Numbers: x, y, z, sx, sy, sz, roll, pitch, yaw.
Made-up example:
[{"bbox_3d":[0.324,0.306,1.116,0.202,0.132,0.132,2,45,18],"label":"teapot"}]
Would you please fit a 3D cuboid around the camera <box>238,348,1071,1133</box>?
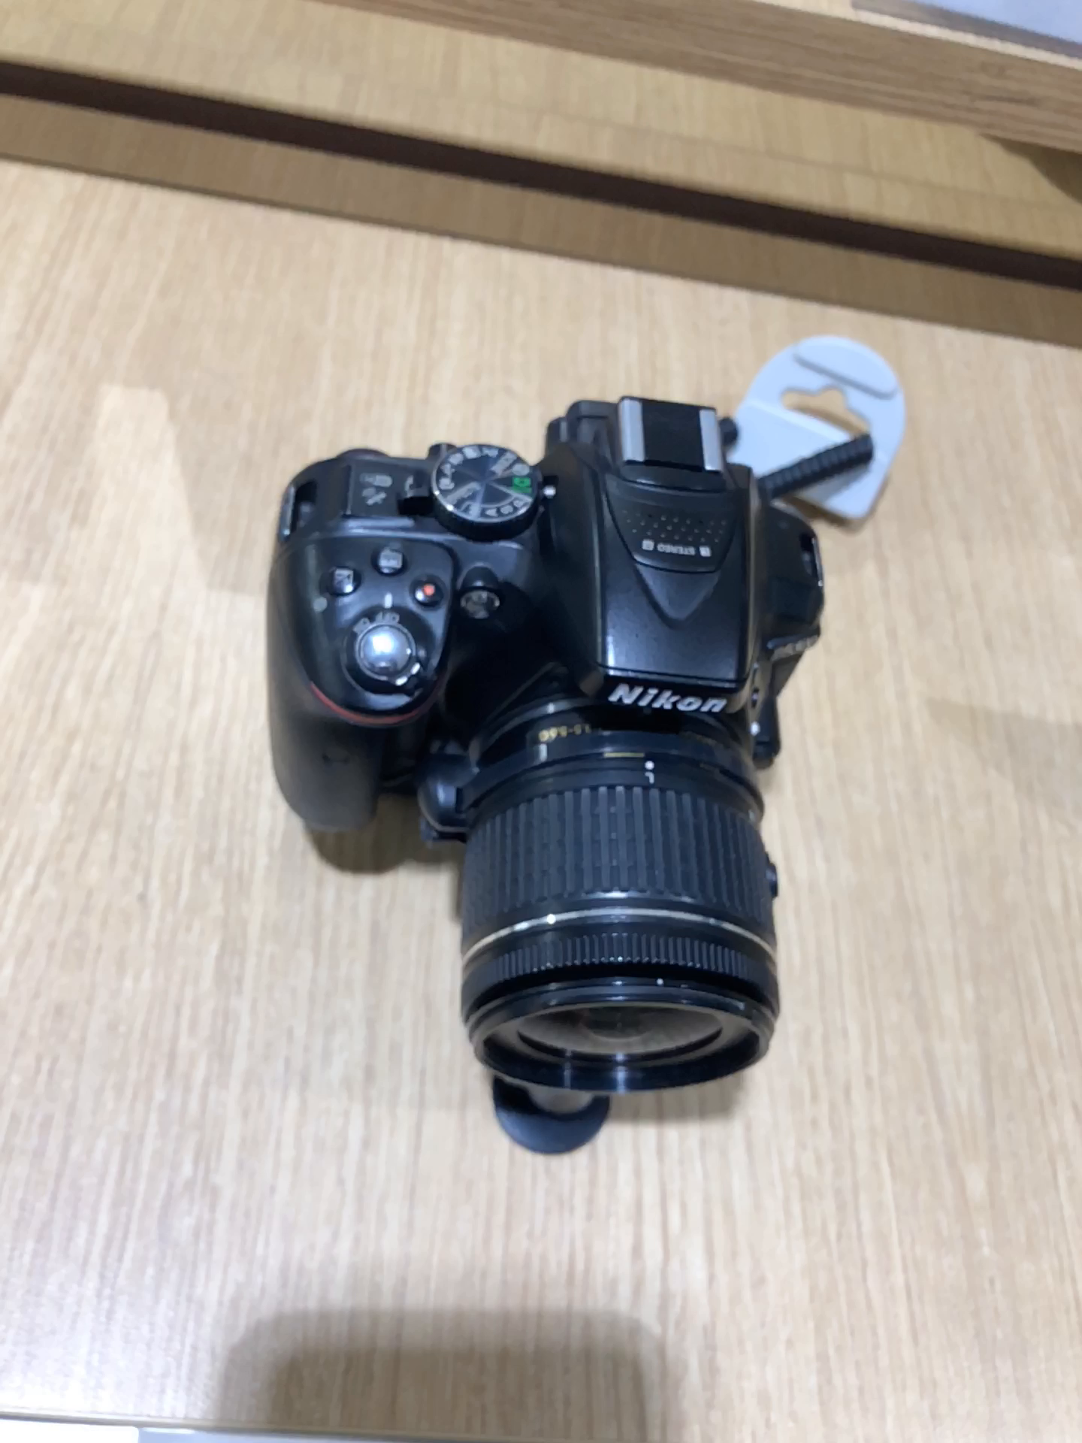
[{"bbox_3d":[0.010,0.010,0.243,0.120,0.102,0.111,5,57,-8],"label":"camera"}]
